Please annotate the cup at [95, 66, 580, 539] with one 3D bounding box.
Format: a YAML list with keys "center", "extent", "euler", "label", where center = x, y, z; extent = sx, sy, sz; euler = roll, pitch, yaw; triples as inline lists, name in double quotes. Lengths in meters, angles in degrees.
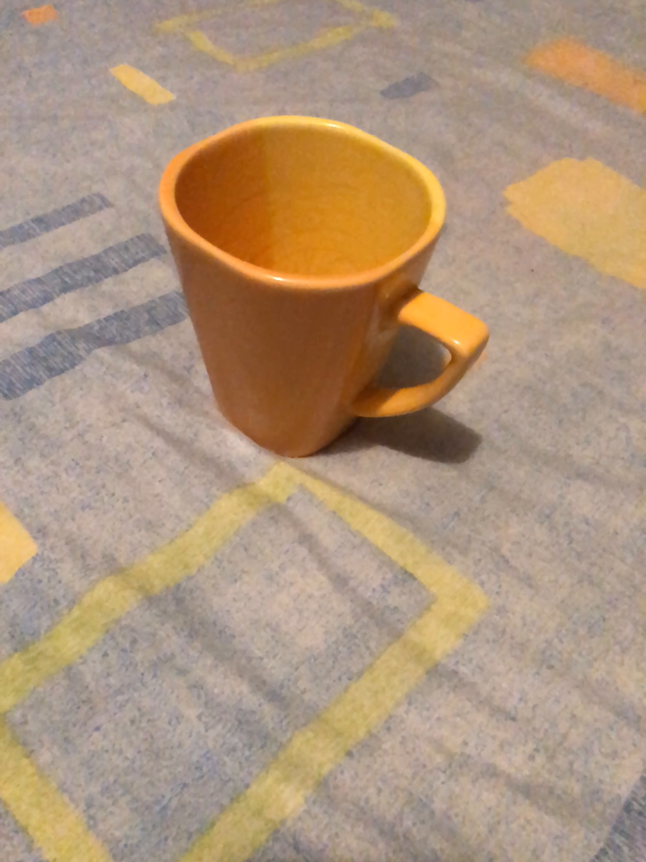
- center: [0.002, -0.045, 0.238]
  extent: [0.111, 0.082, 0.084]
  euler: [37, 59, 22]
  label: "cup"
